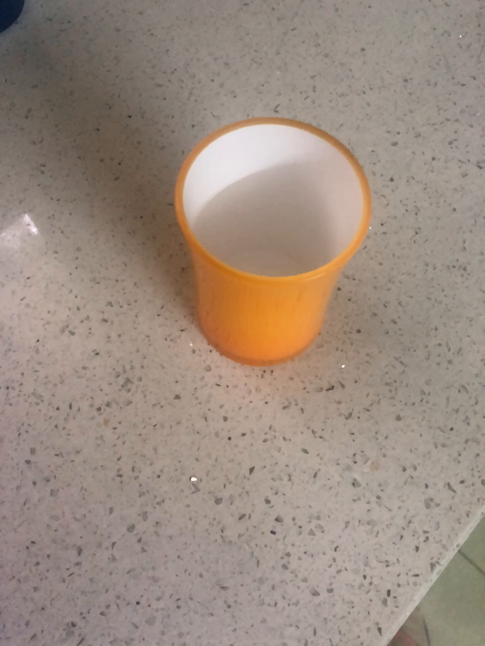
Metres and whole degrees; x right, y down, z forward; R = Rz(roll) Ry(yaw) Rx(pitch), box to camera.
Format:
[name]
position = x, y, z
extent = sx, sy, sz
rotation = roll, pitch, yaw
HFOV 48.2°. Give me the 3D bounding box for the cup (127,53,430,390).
[cup]
position = 0.010, -0.034, 0.236
extent = 0.080, 0.110, 0.080
rotation = 0, 69, 0
